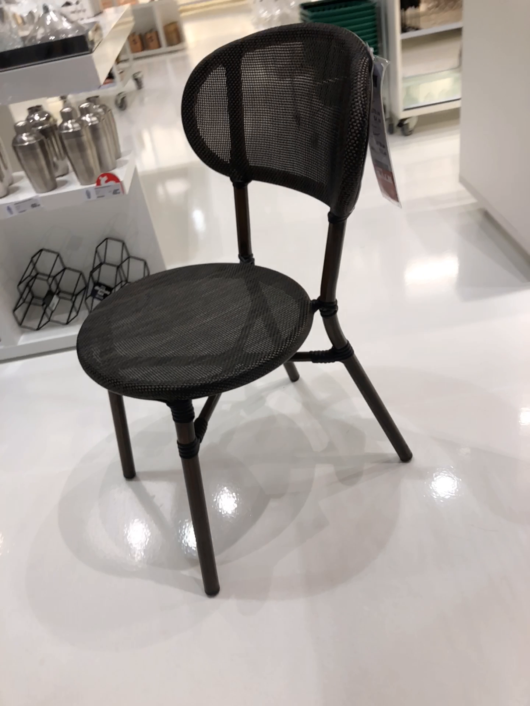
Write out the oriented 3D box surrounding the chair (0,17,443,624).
[{"bbox_3d":[-0.070,-0.084,1.007,0.551,0.764,0.473,-29,39,-23],"label":"chair"}]
